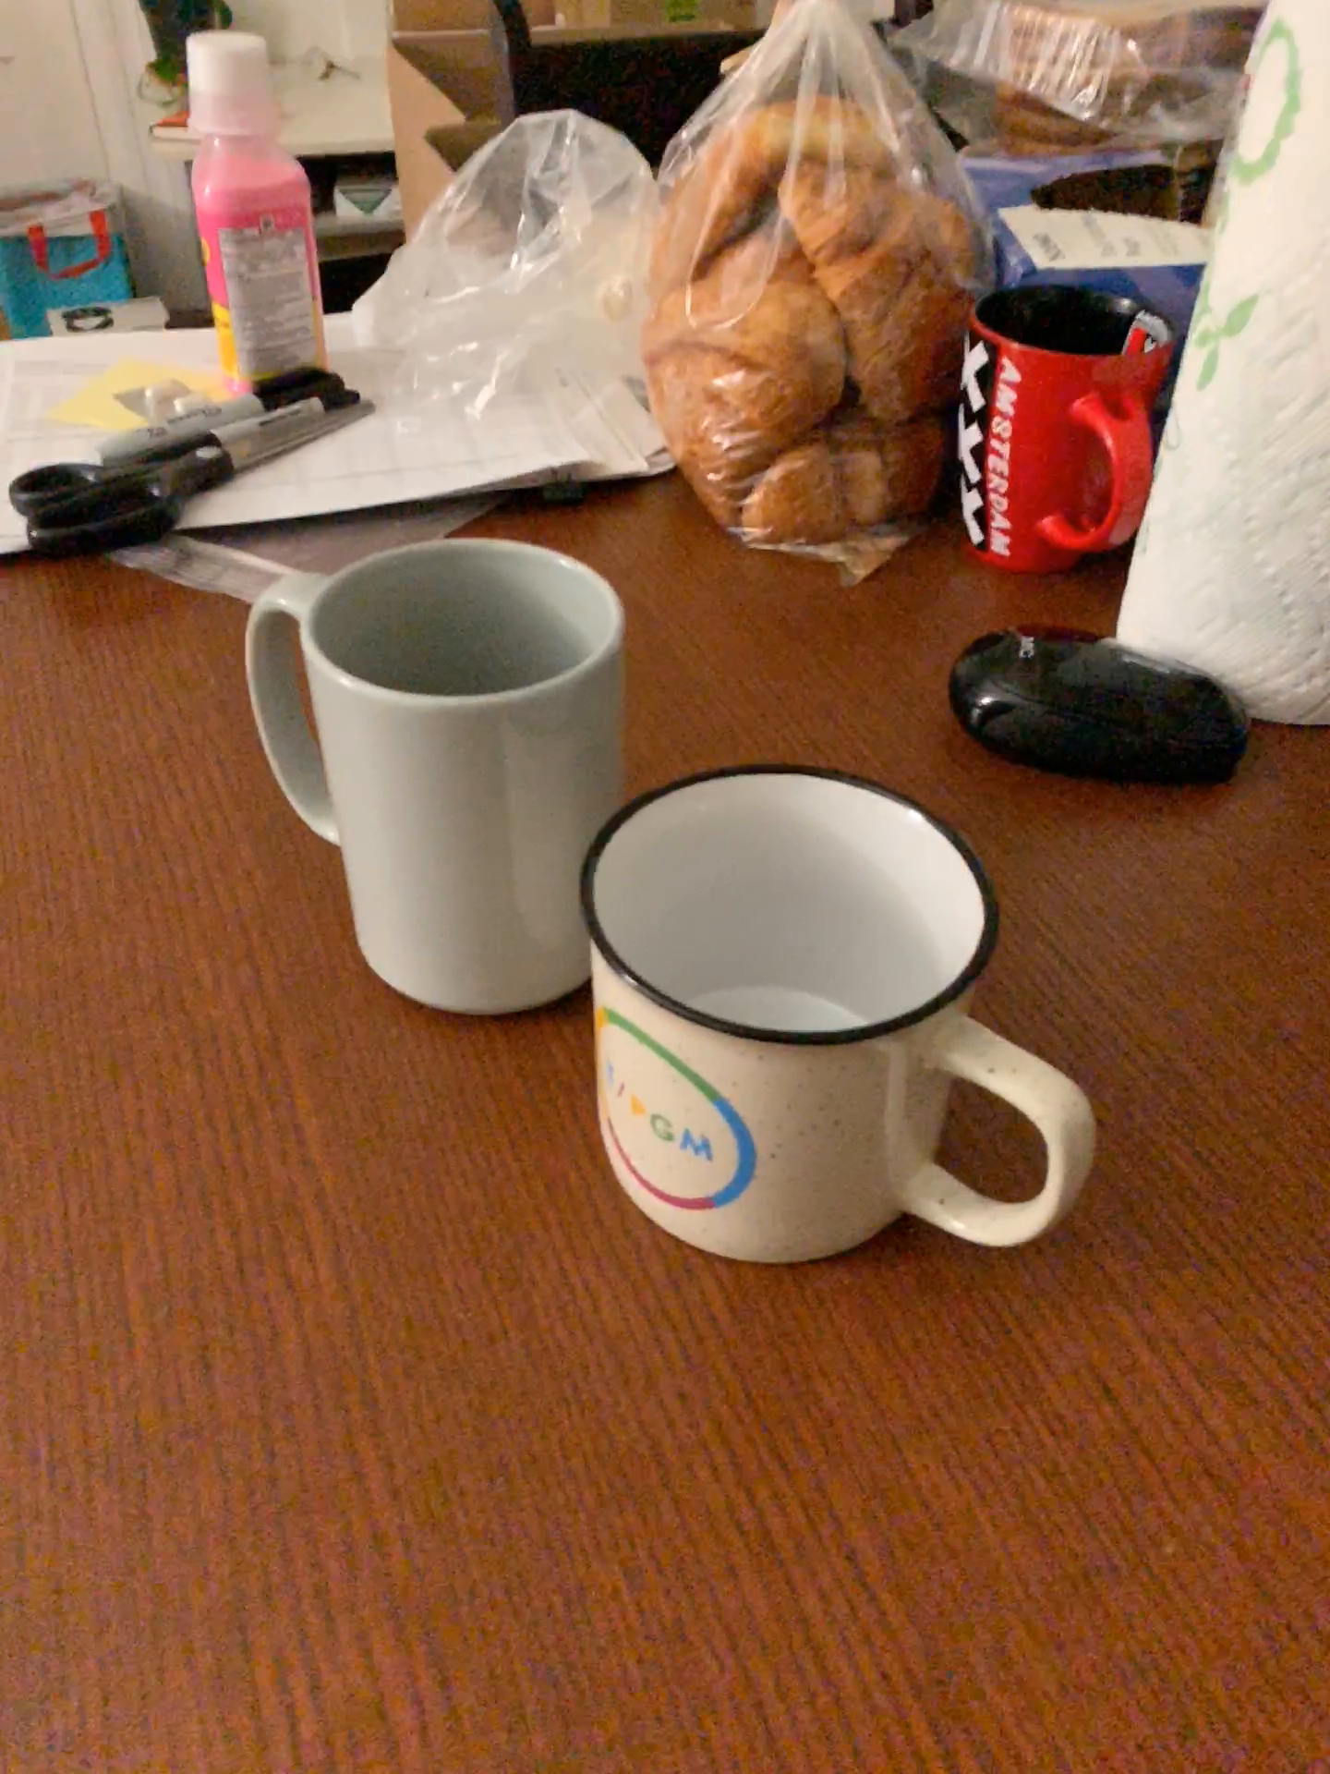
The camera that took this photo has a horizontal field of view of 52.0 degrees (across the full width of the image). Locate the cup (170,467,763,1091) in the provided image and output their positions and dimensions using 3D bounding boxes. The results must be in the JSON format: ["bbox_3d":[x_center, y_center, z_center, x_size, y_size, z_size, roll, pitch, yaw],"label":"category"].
[{"bbox_3d":[-0.058,-0.039,0.401,0.100,0.099,0.141,-27,48,-28],"label":"cup"}]

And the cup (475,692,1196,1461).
[{"bbox_3d":[0.034,0.039,0.340,0.100,0.099,0.131,-26,48,-28],"label":"cup"}]
